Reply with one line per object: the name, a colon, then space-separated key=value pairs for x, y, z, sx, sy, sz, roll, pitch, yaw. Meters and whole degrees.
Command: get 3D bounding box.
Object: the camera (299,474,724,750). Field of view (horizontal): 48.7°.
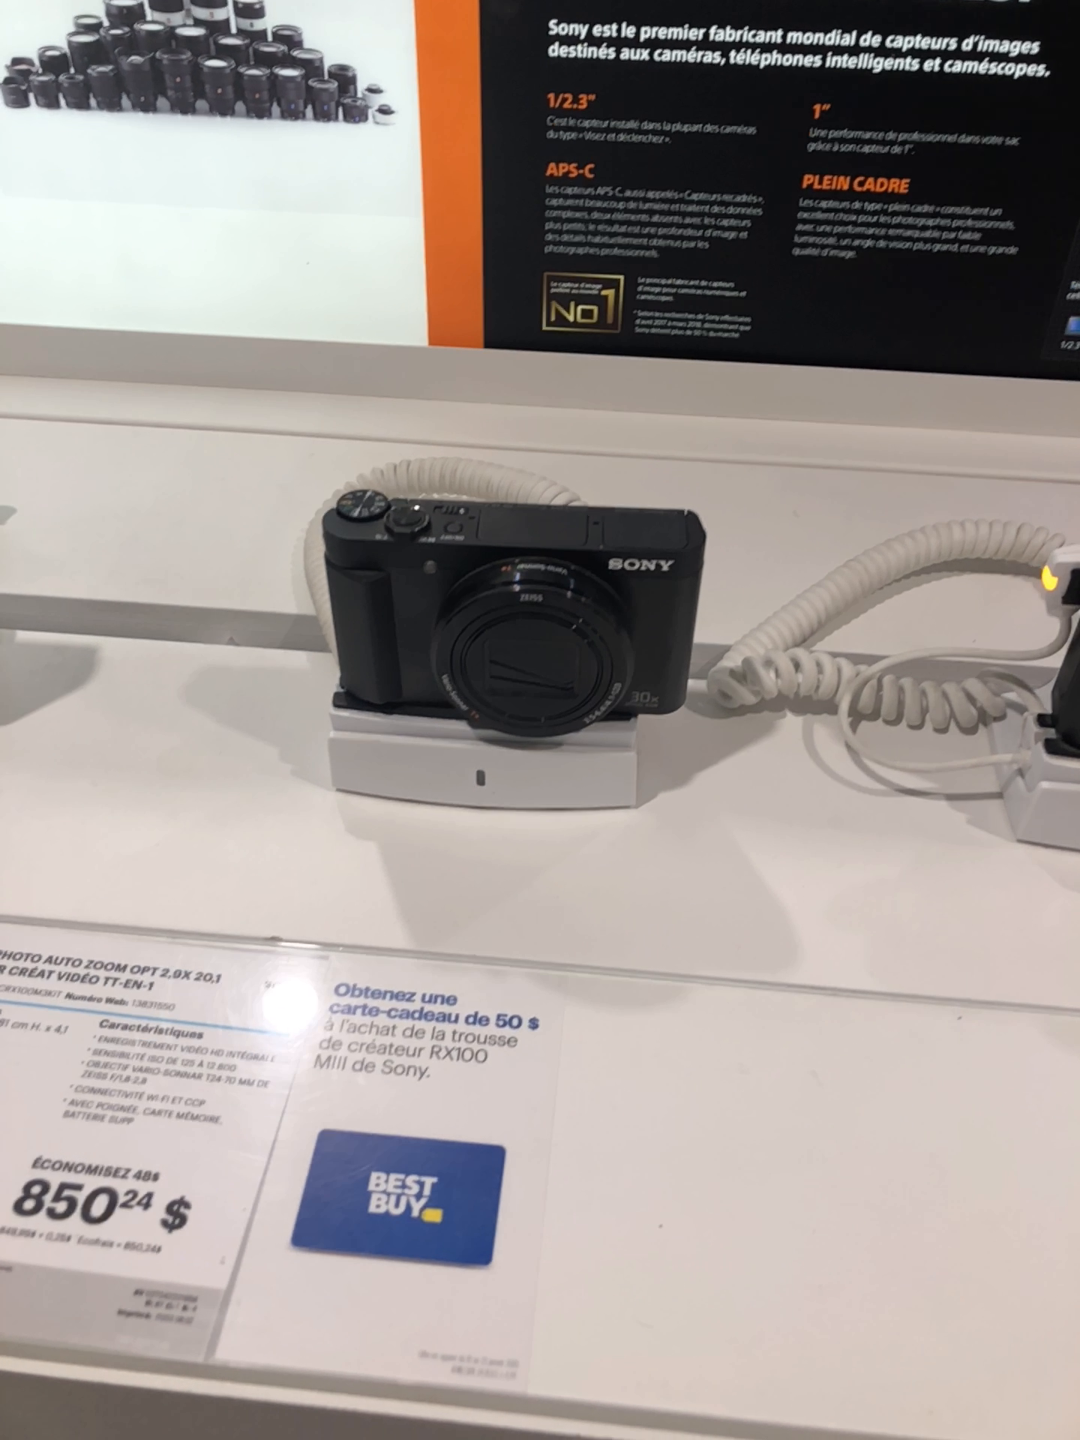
camera: x=-0.007 y=-0.030 z=0.342 sx=0.110 sy=0.069 sz=0.030 roll=2 pitch=39 yaw=2
